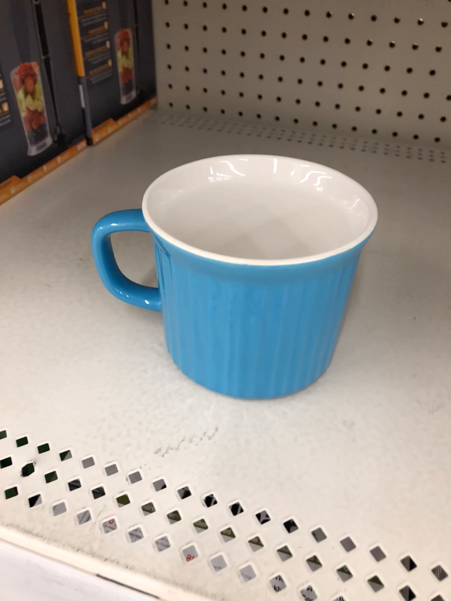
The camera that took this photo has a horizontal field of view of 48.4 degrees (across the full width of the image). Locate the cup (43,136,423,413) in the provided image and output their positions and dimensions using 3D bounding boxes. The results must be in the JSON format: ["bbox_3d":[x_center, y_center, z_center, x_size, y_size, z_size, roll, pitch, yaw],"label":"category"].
[{"bbox_3d":[0.006,-0.022,0.290,0.160,0.093,0.126,4,38,3],"label":"cup"}]
